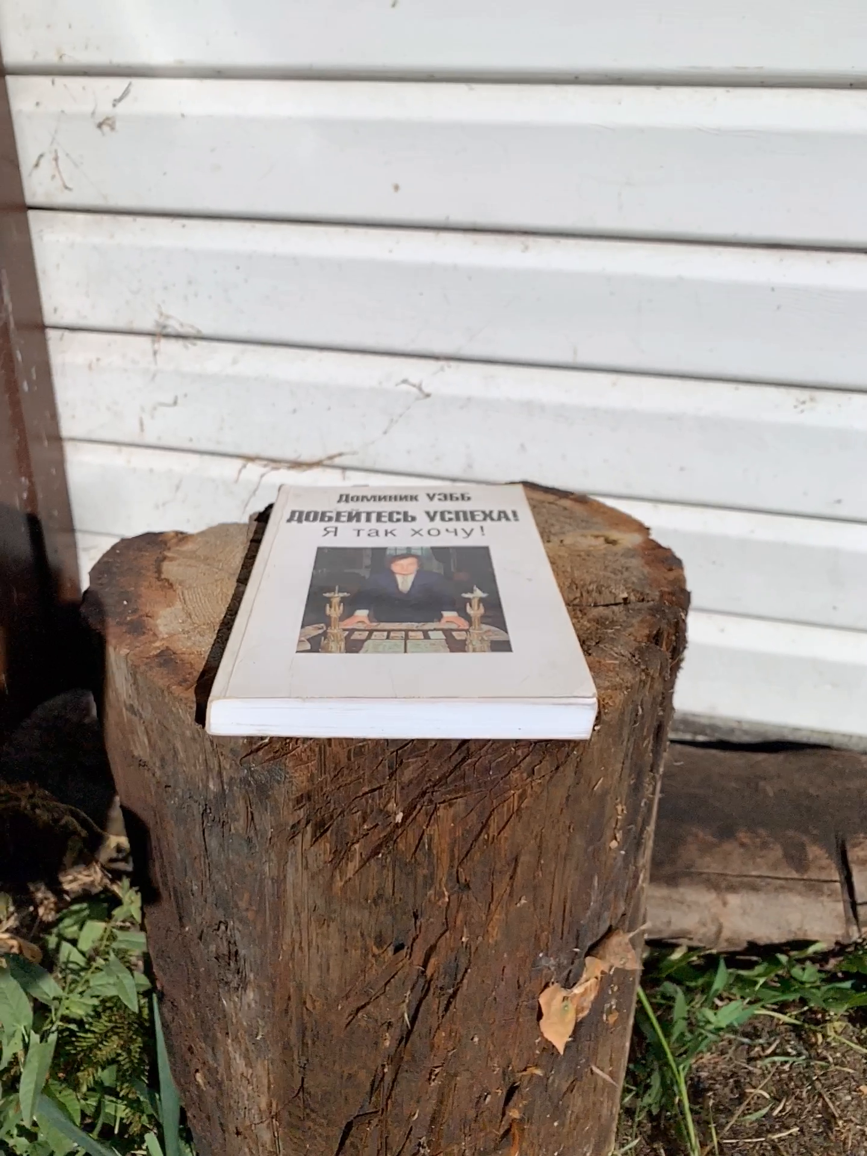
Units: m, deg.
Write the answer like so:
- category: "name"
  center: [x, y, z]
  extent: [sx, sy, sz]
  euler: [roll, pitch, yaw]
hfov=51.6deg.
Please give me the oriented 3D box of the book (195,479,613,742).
- category: "book"
  center: [-0.013, 0.002, 0.399]
  extent: [0.139, 0.020, 0.211]
  euler: [0, 26, -2]
